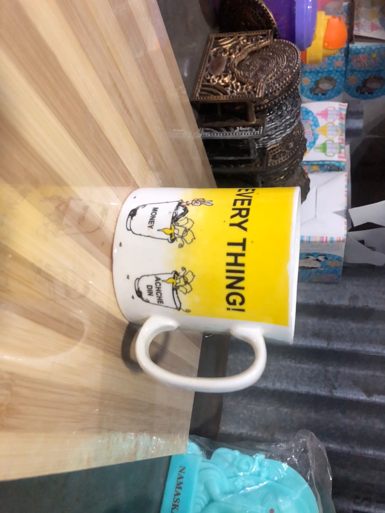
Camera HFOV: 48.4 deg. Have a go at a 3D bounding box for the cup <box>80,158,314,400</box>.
[{"bbox_3d":[0.010,0.013,0.236,0.070,0.100,0.110,53,43,-70],"label":"cup"}]
